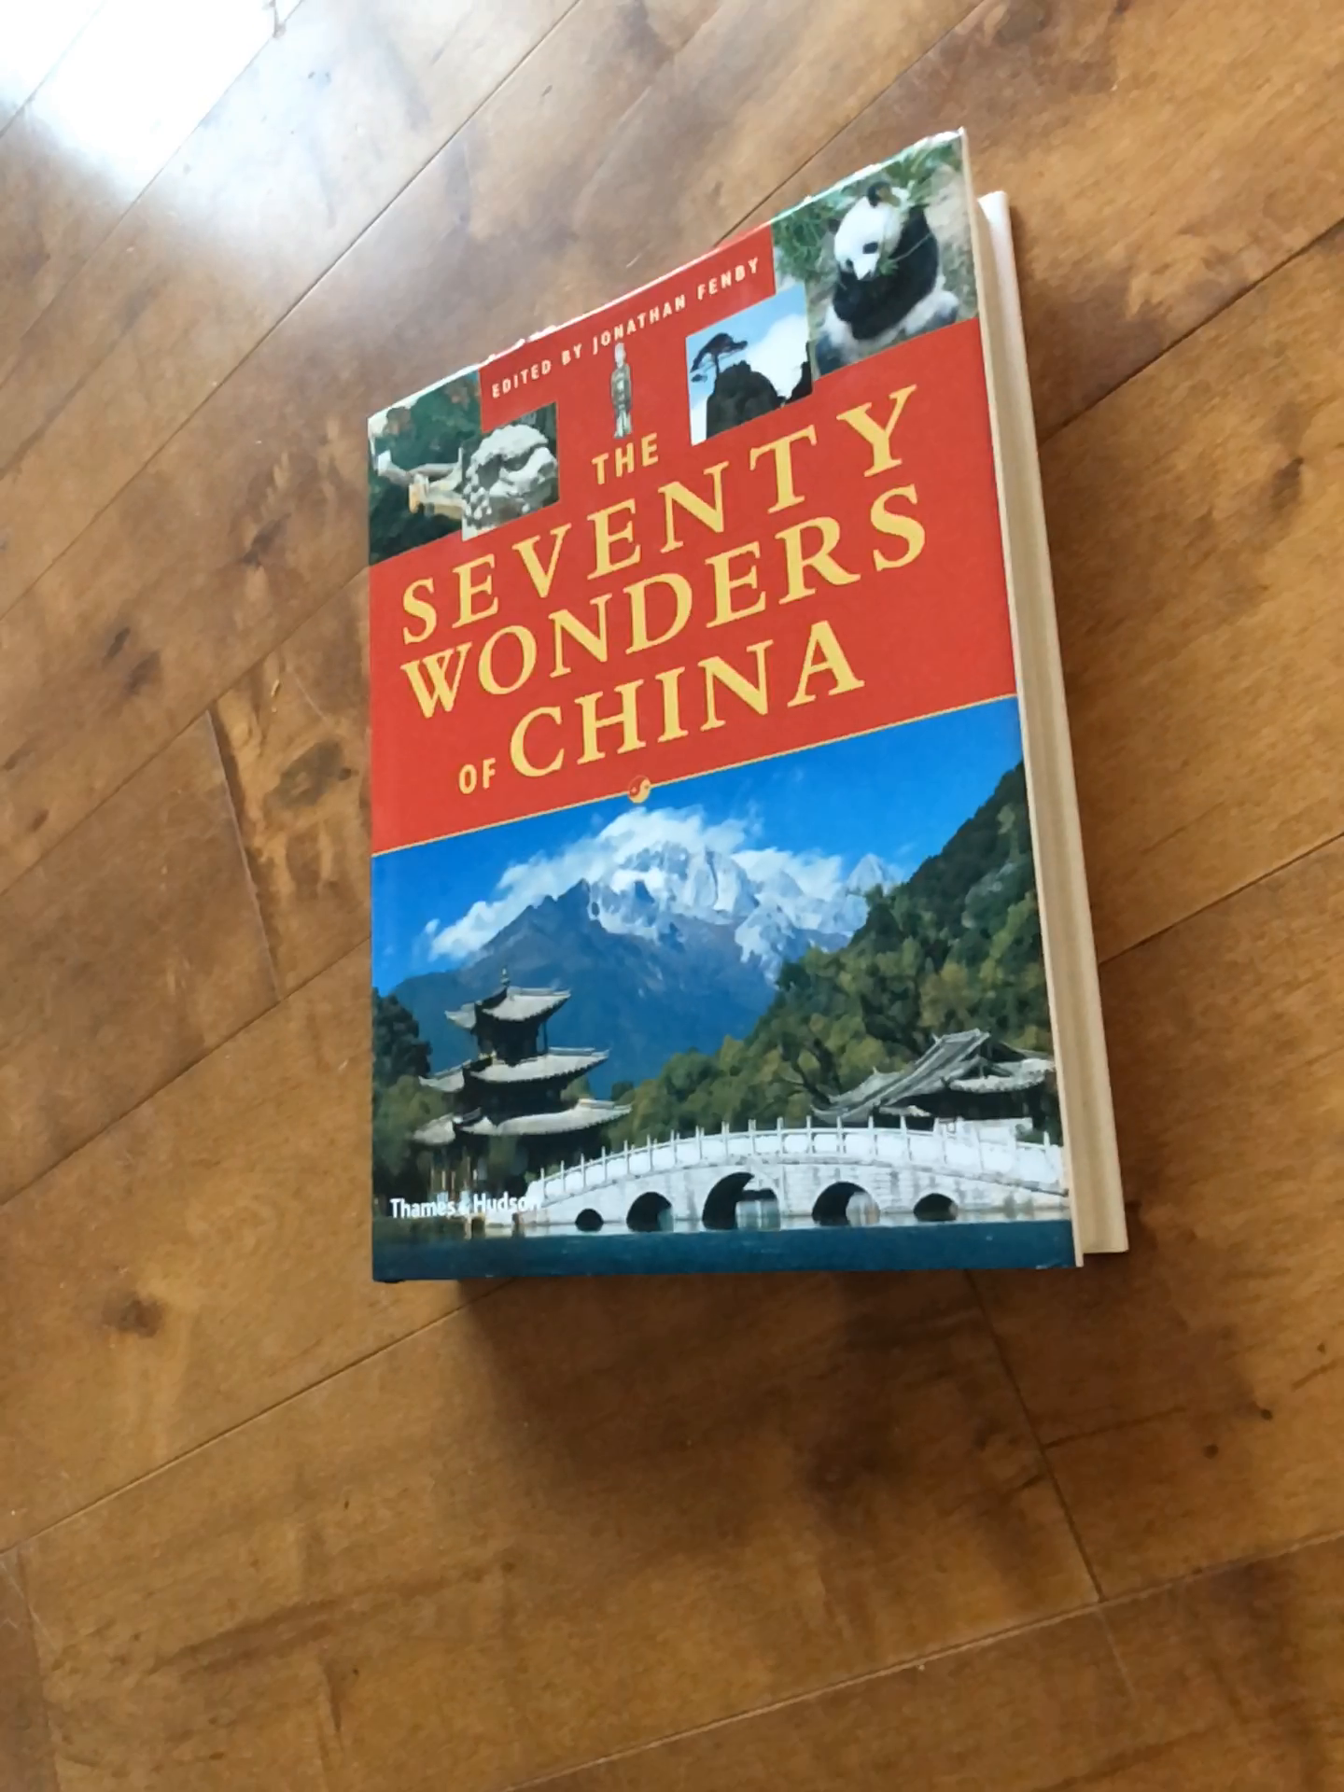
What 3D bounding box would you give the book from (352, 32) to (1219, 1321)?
[{"bbox_3d":[0.009,-0.039,0.396,0.221,0.050,0.290,-11,74,35],"label":"book"}]
